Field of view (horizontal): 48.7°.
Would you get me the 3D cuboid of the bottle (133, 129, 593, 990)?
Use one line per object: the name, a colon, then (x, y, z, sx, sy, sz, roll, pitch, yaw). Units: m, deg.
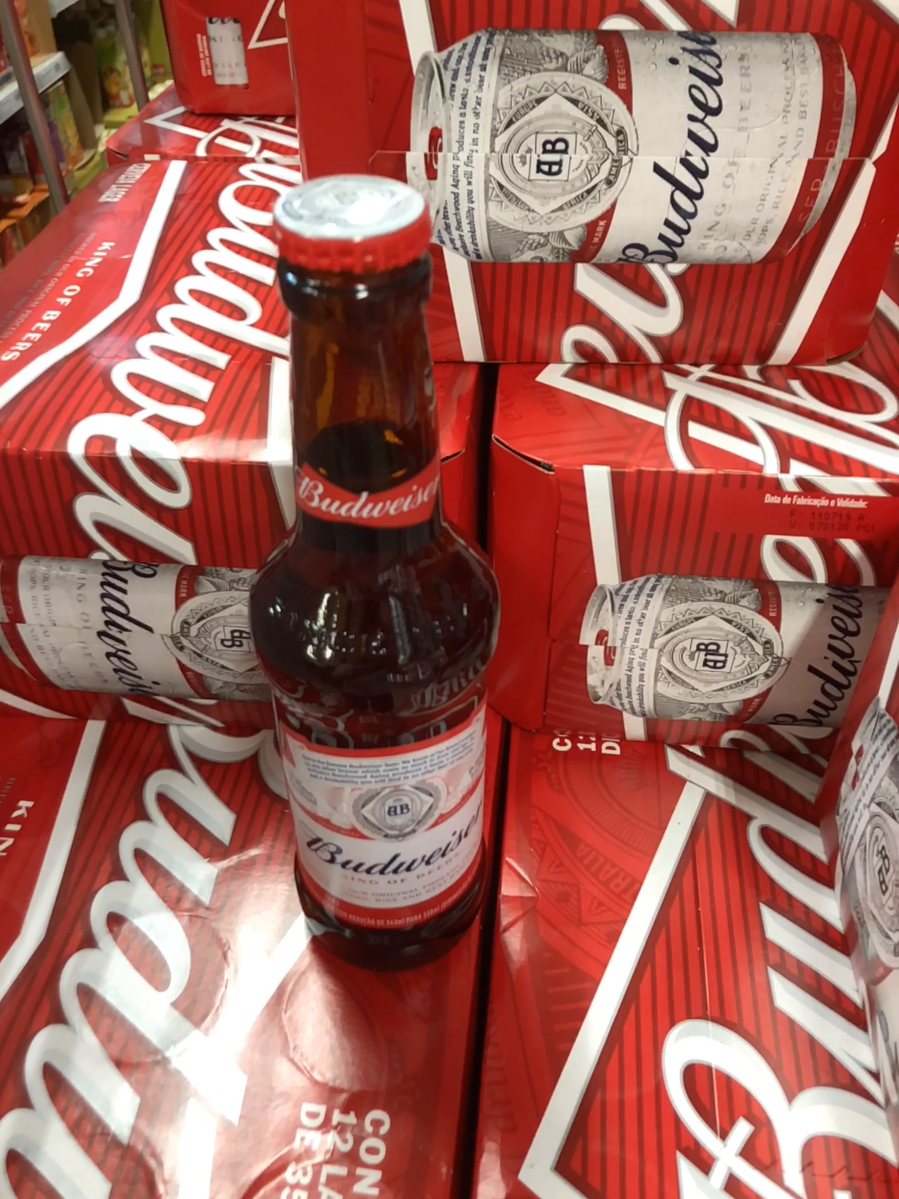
bottle: (-0.015, 0.013, 0.251, 0.070, 0.228, 0.060, -3, 43, -3)
